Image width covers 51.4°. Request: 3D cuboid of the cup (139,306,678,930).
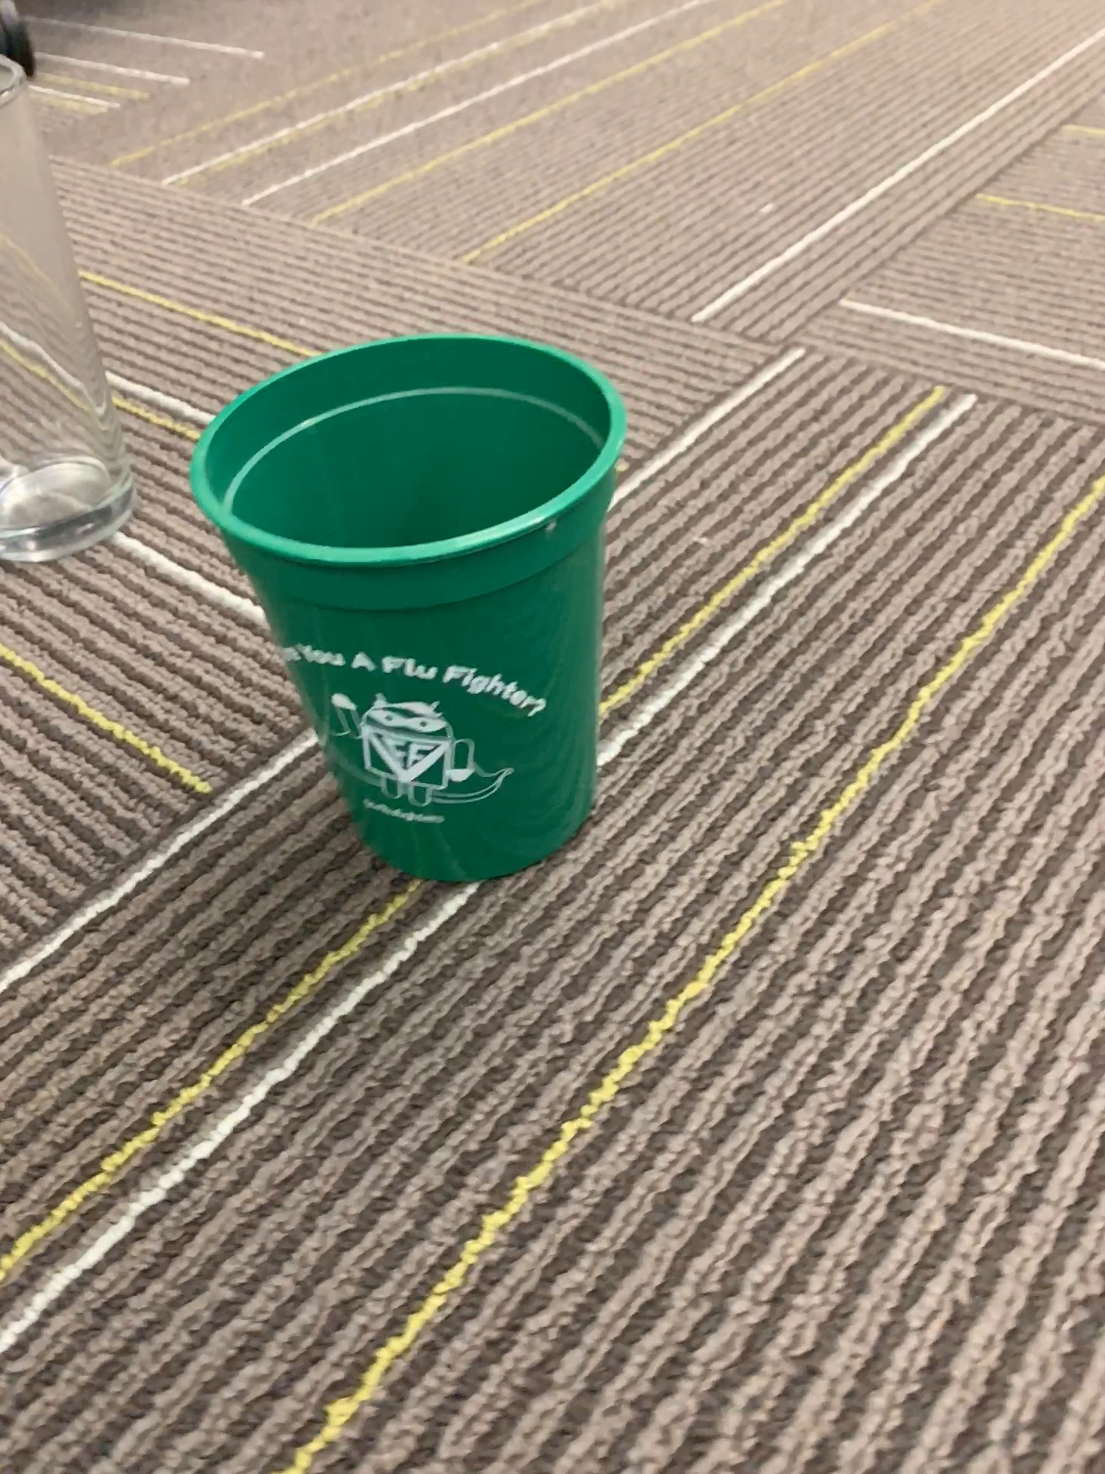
[{"bbox_3d":[-0.023,-0.029,0.286,0.090,0.119,0.080,10,46,17],"label":"cup"}]
